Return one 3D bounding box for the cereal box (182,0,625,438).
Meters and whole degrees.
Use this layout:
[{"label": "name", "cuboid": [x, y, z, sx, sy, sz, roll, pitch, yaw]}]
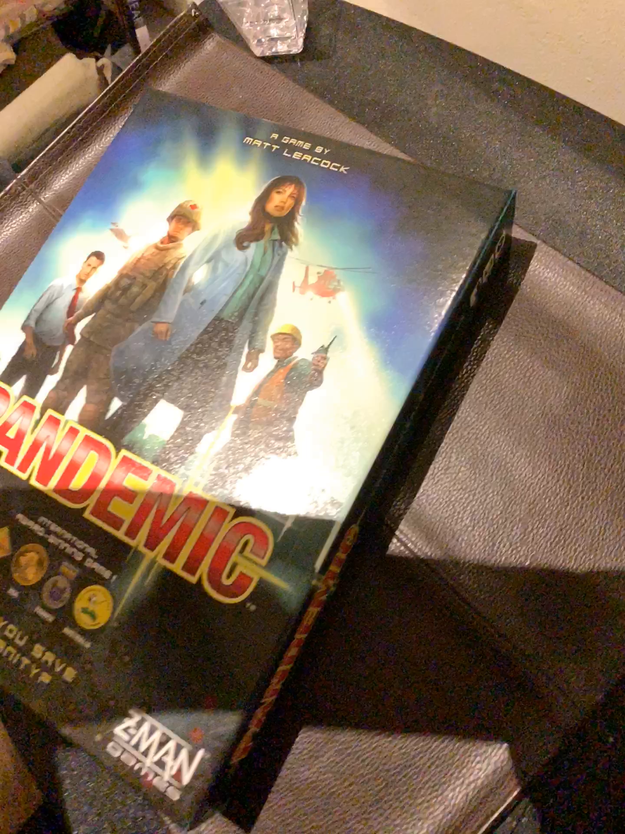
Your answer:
[{"label": "cereal box", "cuboid": [0.211, -0.365, 1.150, 0.471, 0.997, 0.511, -5, 71, 13]}]
